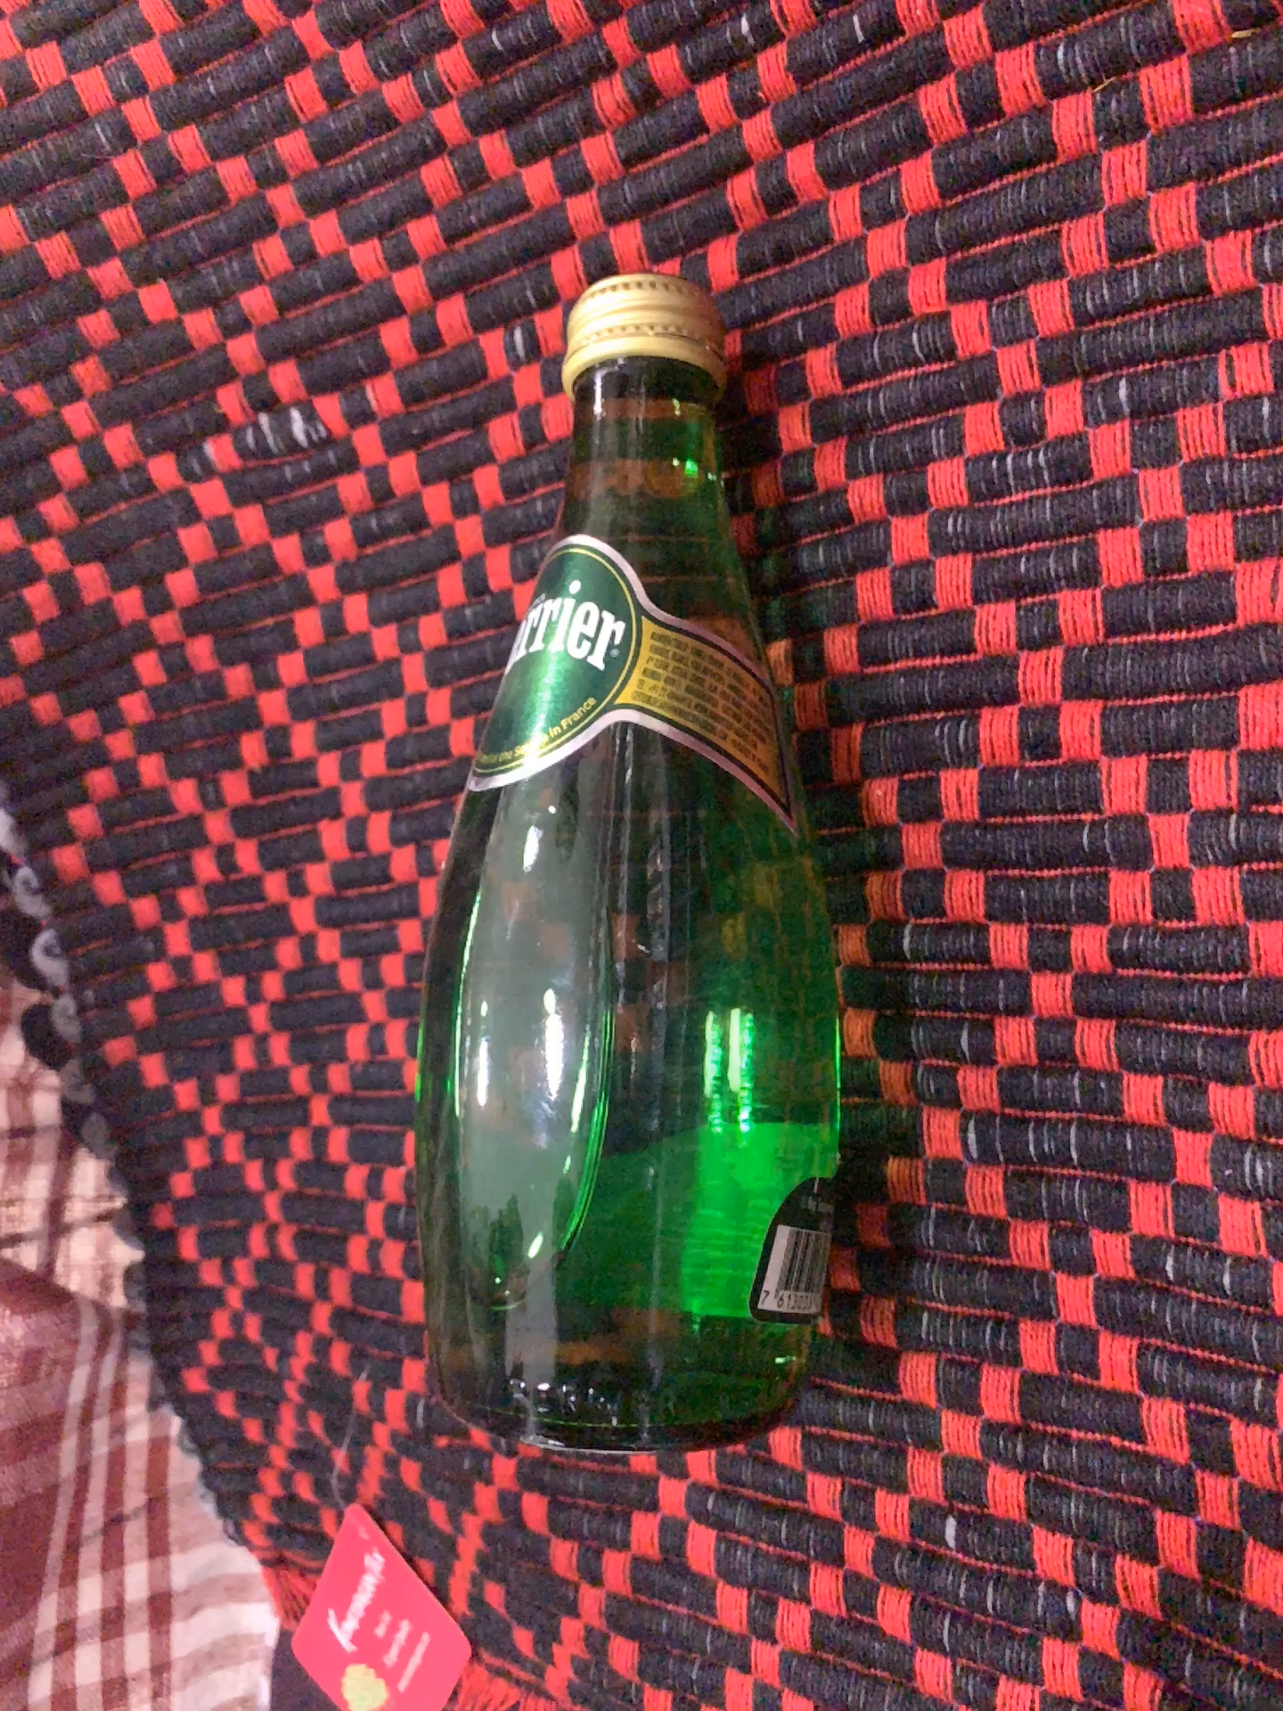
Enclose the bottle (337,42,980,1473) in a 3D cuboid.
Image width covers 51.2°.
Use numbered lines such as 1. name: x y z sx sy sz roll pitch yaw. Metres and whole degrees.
1. bottle: 0.003 -0.012 0.215 0.070 0.070 0.180 -6 81 49
